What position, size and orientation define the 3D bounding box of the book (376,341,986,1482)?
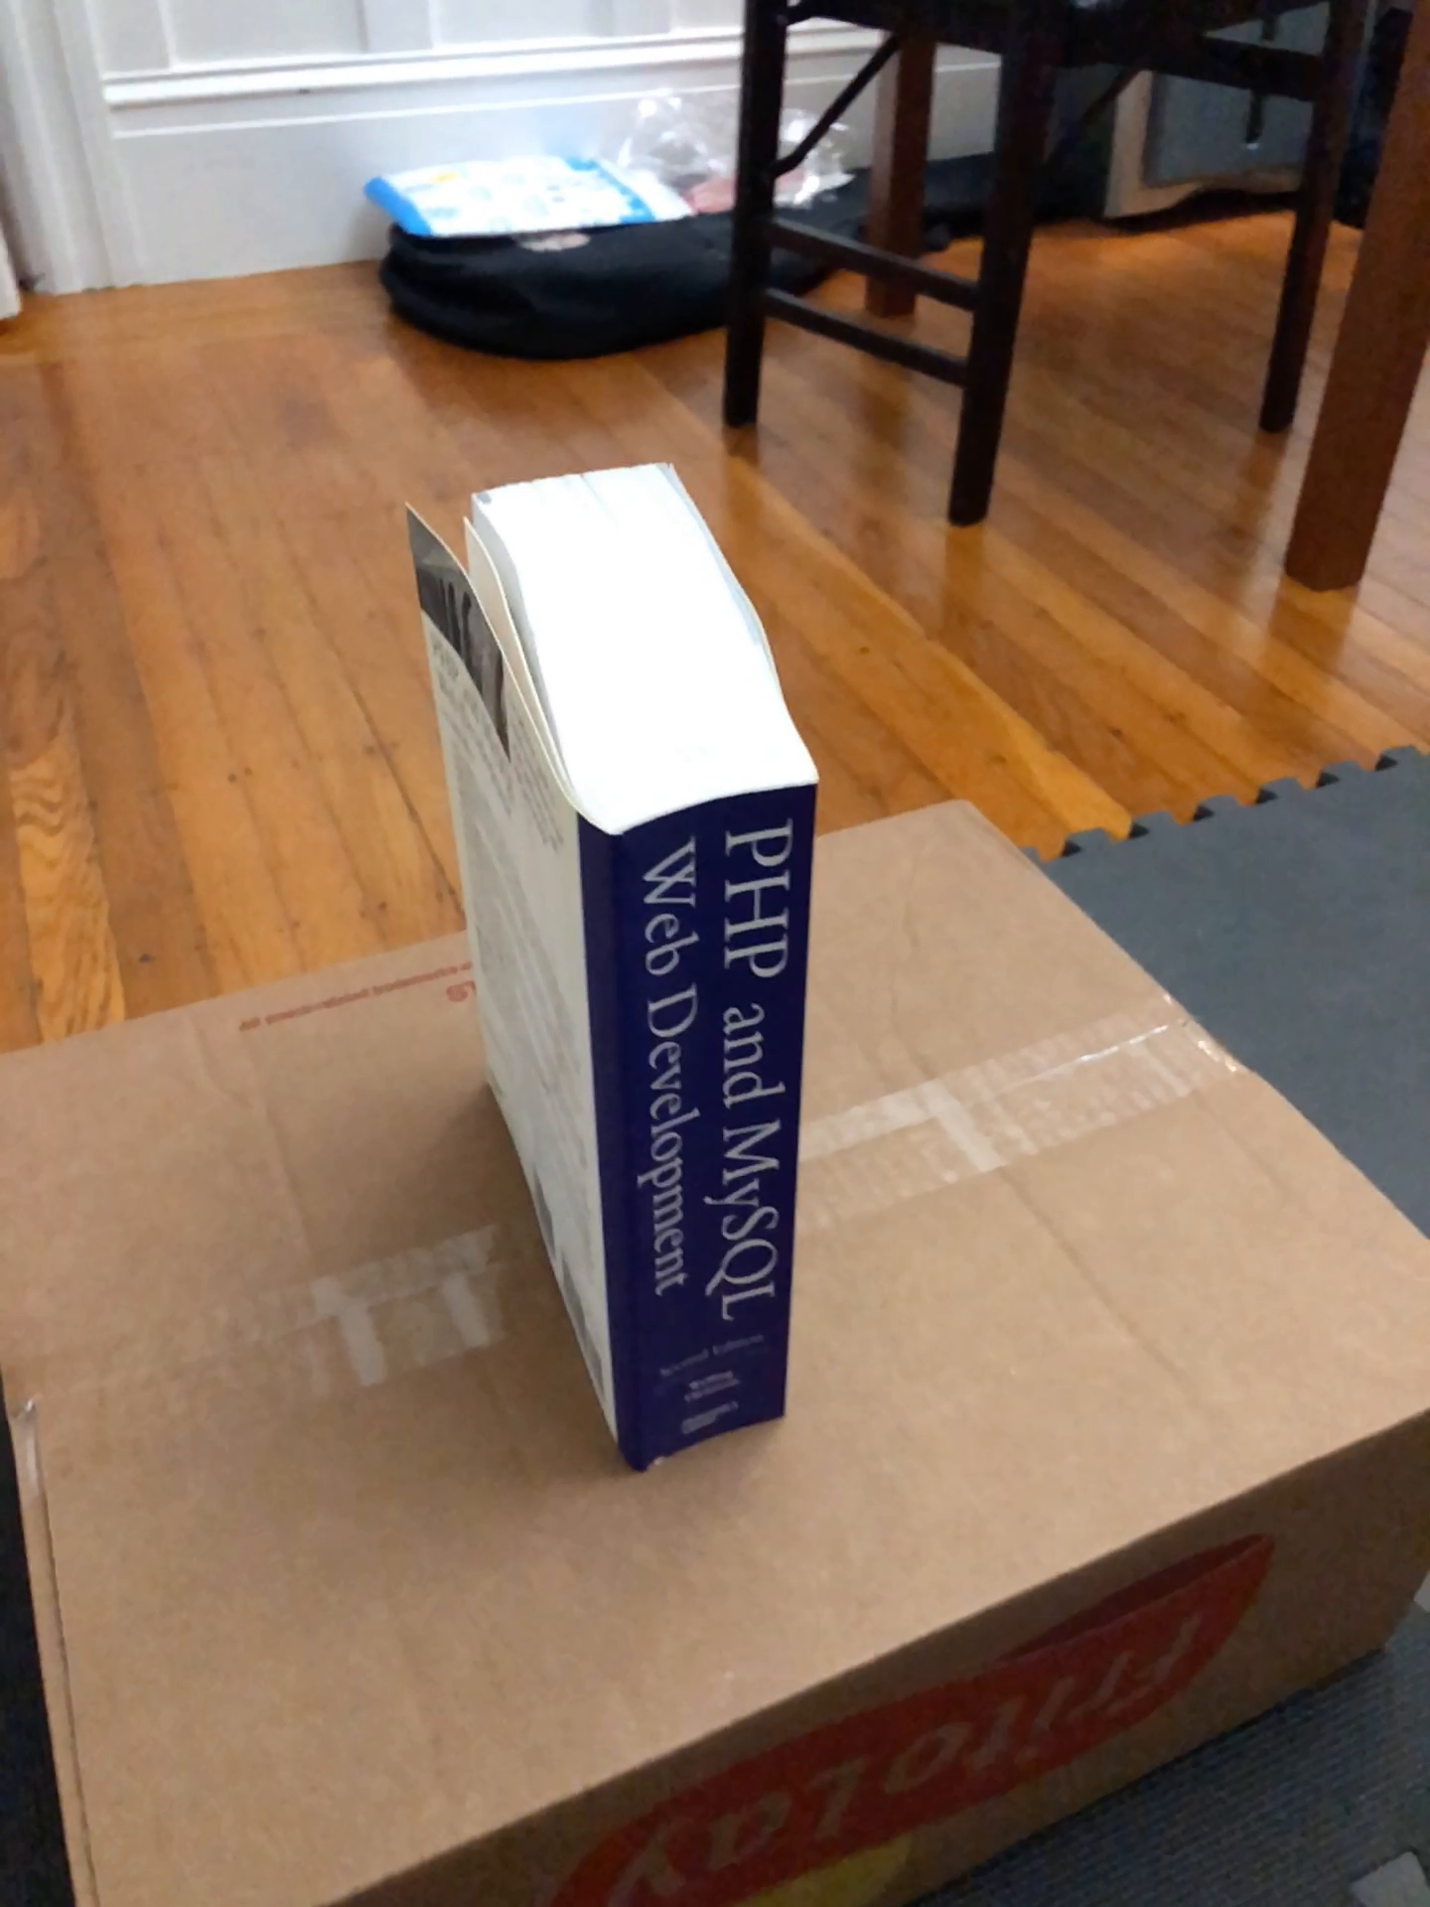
[{"bbox_3d":[-0.024,-0.015,0.470,0.090,0.258,0.201,-11,40,-17],"label":"book"}]
